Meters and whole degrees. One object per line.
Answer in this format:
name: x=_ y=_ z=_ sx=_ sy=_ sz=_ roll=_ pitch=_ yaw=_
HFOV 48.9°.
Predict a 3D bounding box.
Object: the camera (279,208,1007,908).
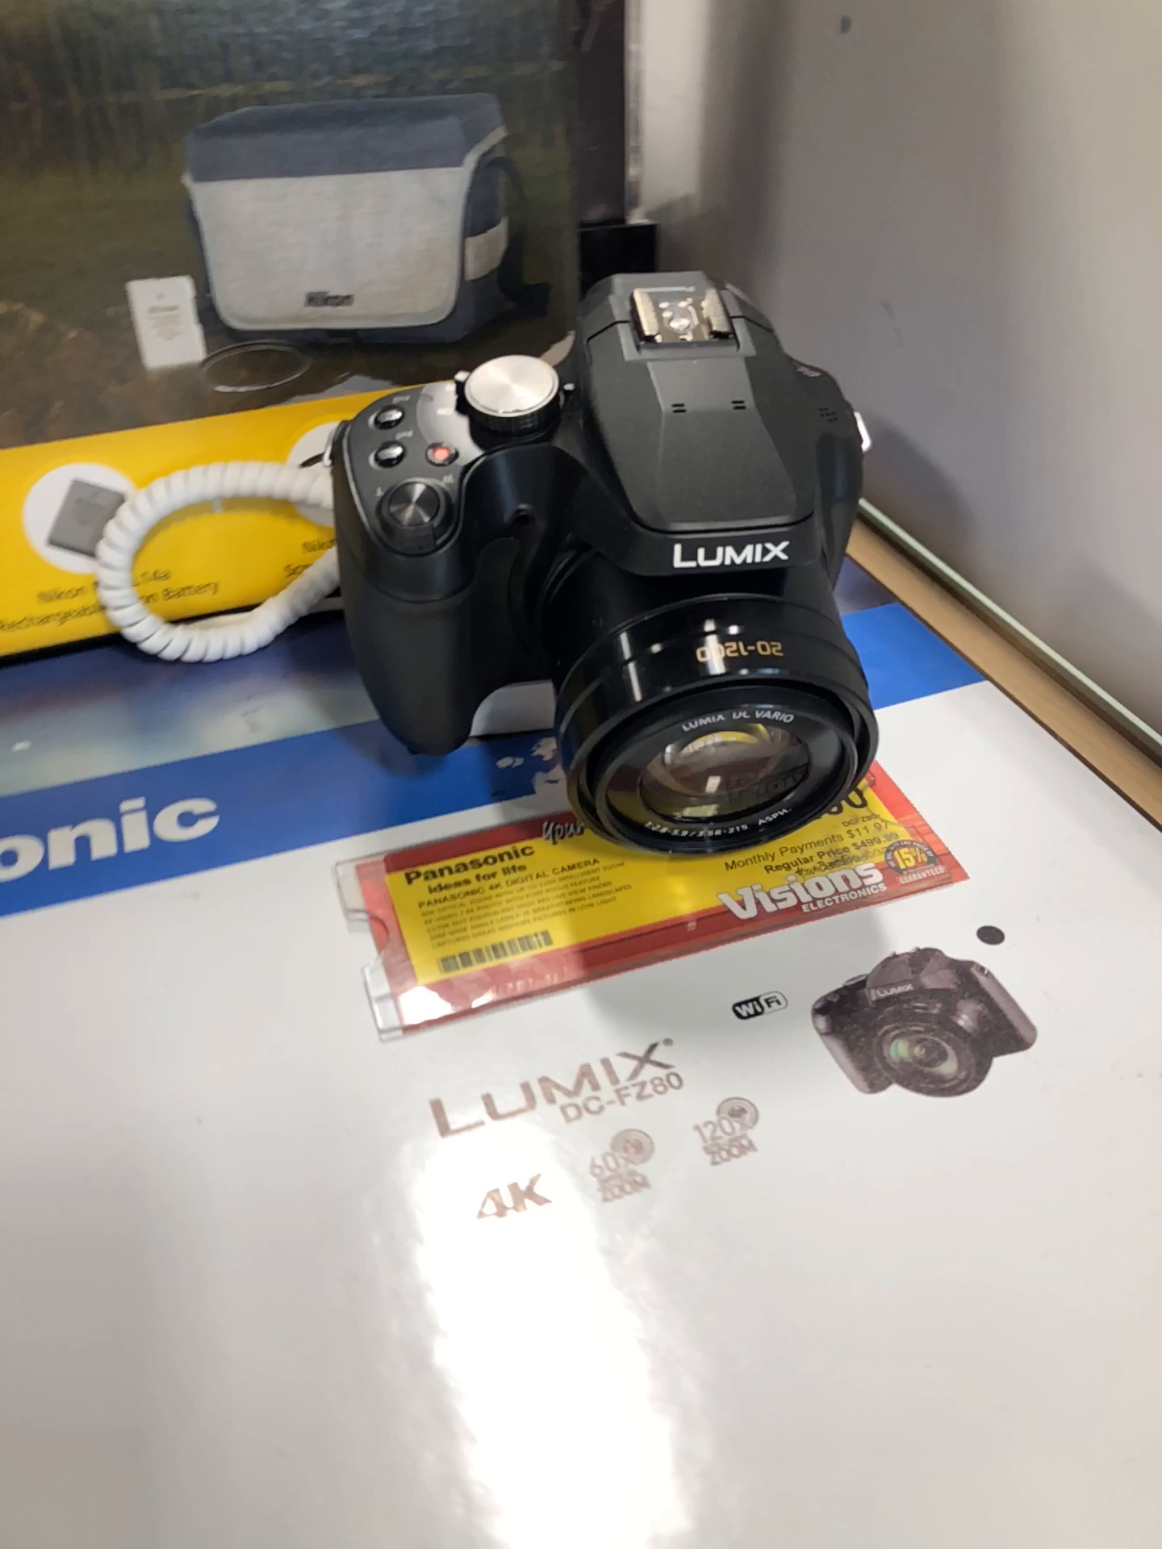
camera: x=0.004 y=-0.049 z=0.283 sx=0.120 sy=0.099 sz=0.101 roll=-8 pitch=51 yaw=-9
